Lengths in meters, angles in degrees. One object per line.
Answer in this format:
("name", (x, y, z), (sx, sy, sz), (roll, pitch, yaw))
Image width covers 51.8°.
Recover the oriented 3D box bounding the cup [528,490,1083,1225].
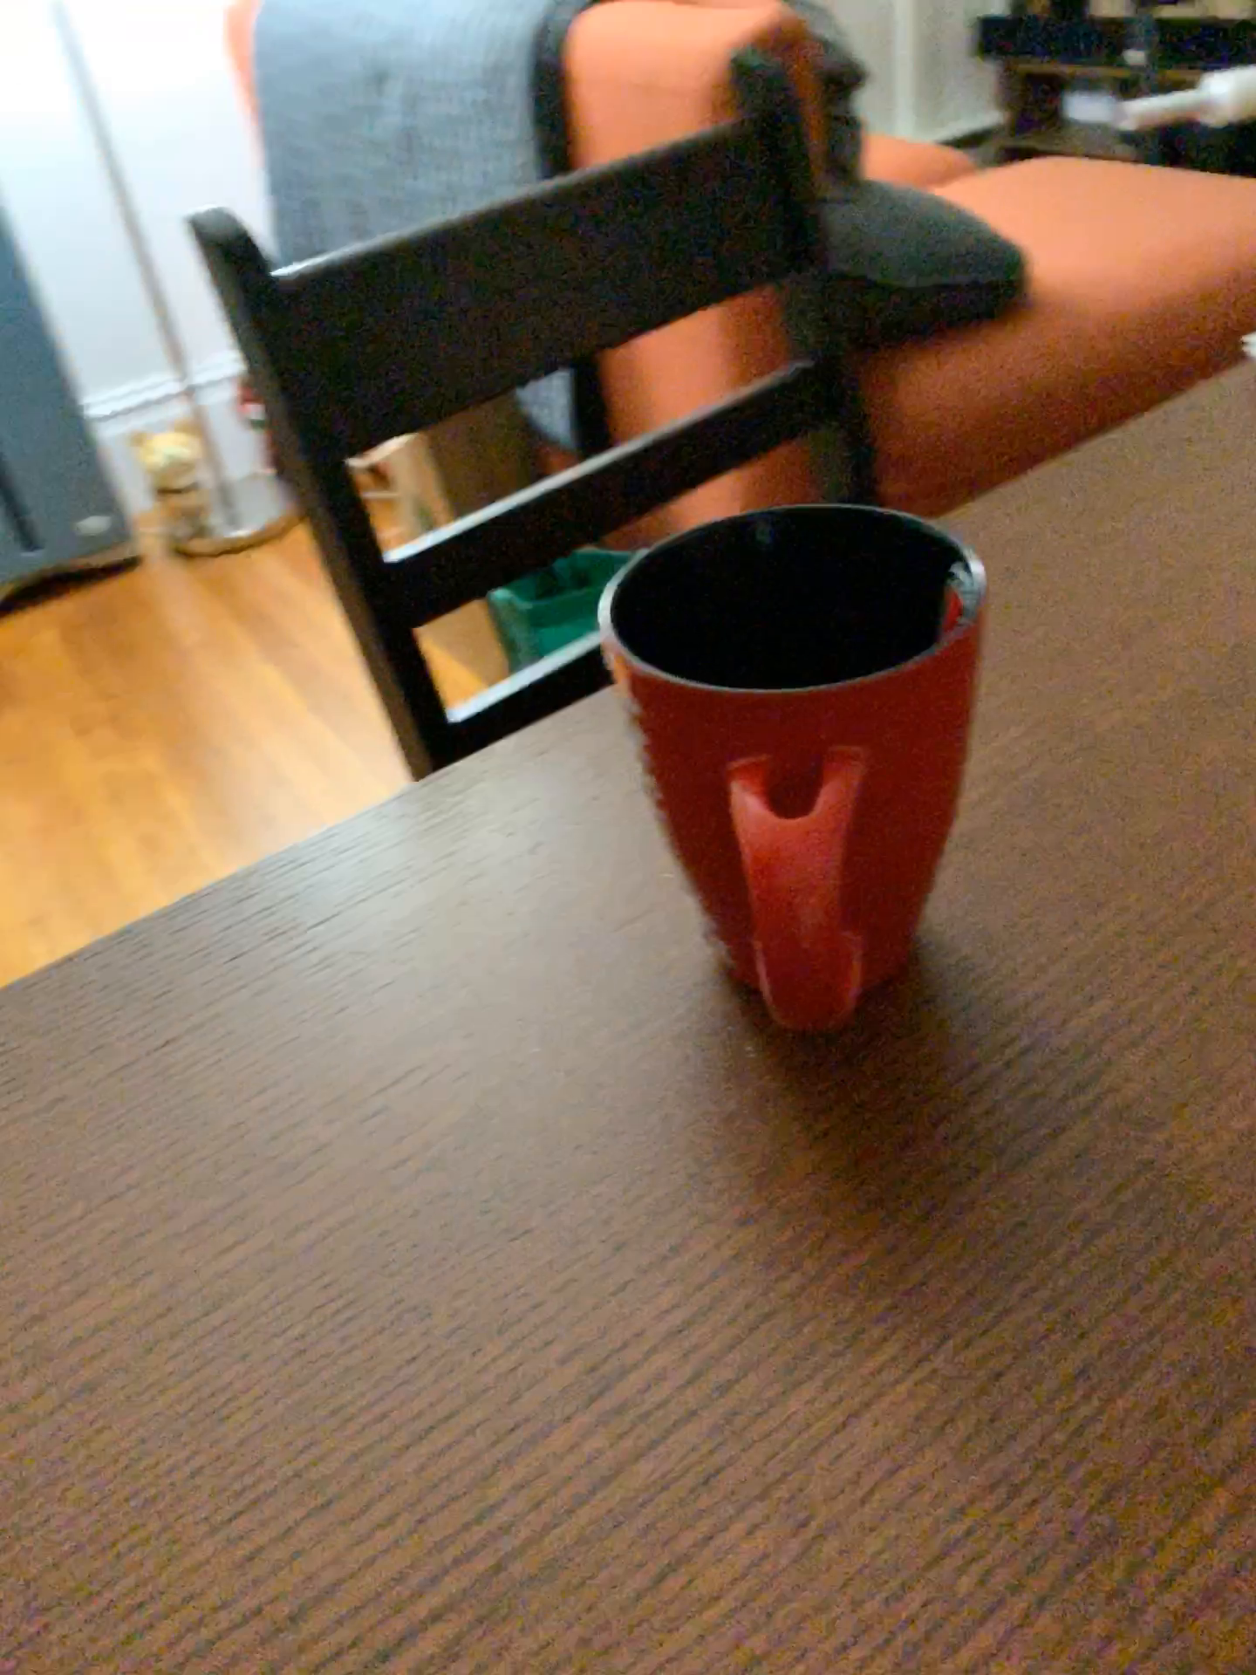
("cup", (0.043, -0.001, 0.292), (0.090, 0.099, 0.131), (-1, 39, 12))
